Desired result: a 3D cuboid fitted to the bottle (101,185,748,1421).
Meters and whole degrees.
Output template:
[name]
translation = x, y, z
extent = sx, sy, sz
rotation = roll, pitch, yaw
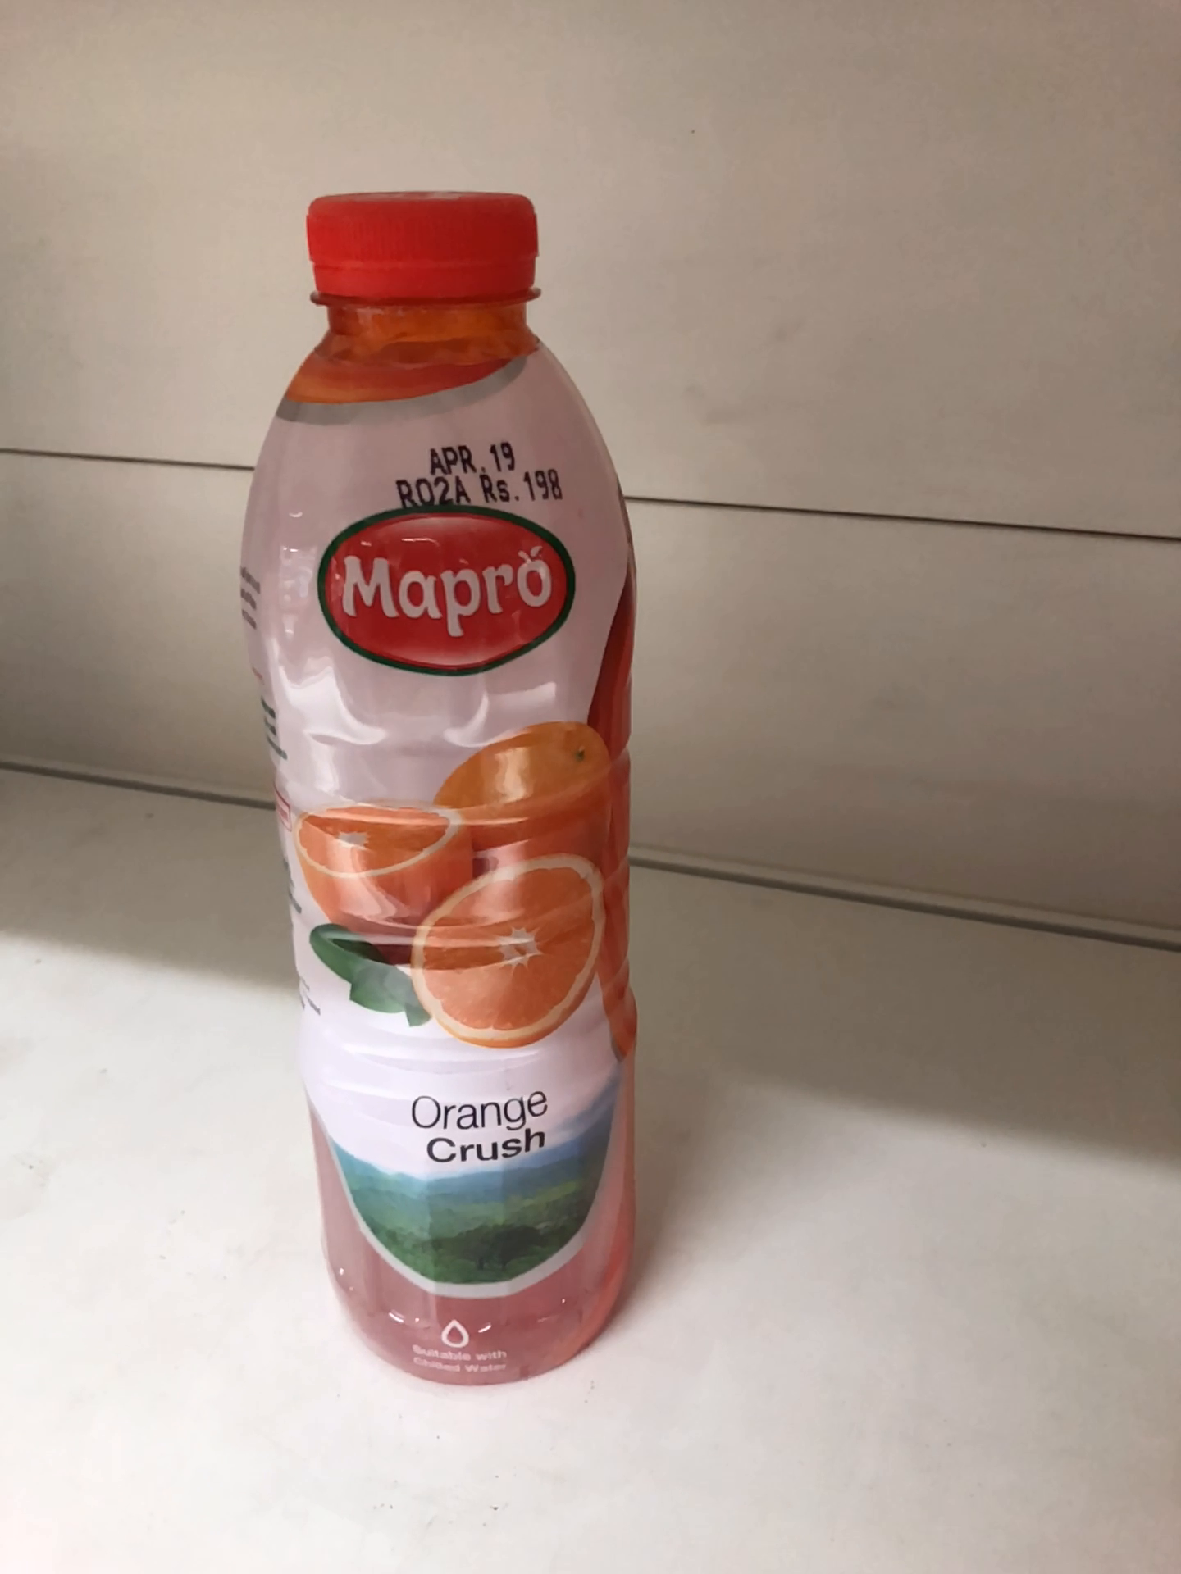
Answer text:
[bottle]
translation = -0.027, 0.008, 0.271
extent = 0.090, 0.239, 0.080
rotation = -3, 25, -6
